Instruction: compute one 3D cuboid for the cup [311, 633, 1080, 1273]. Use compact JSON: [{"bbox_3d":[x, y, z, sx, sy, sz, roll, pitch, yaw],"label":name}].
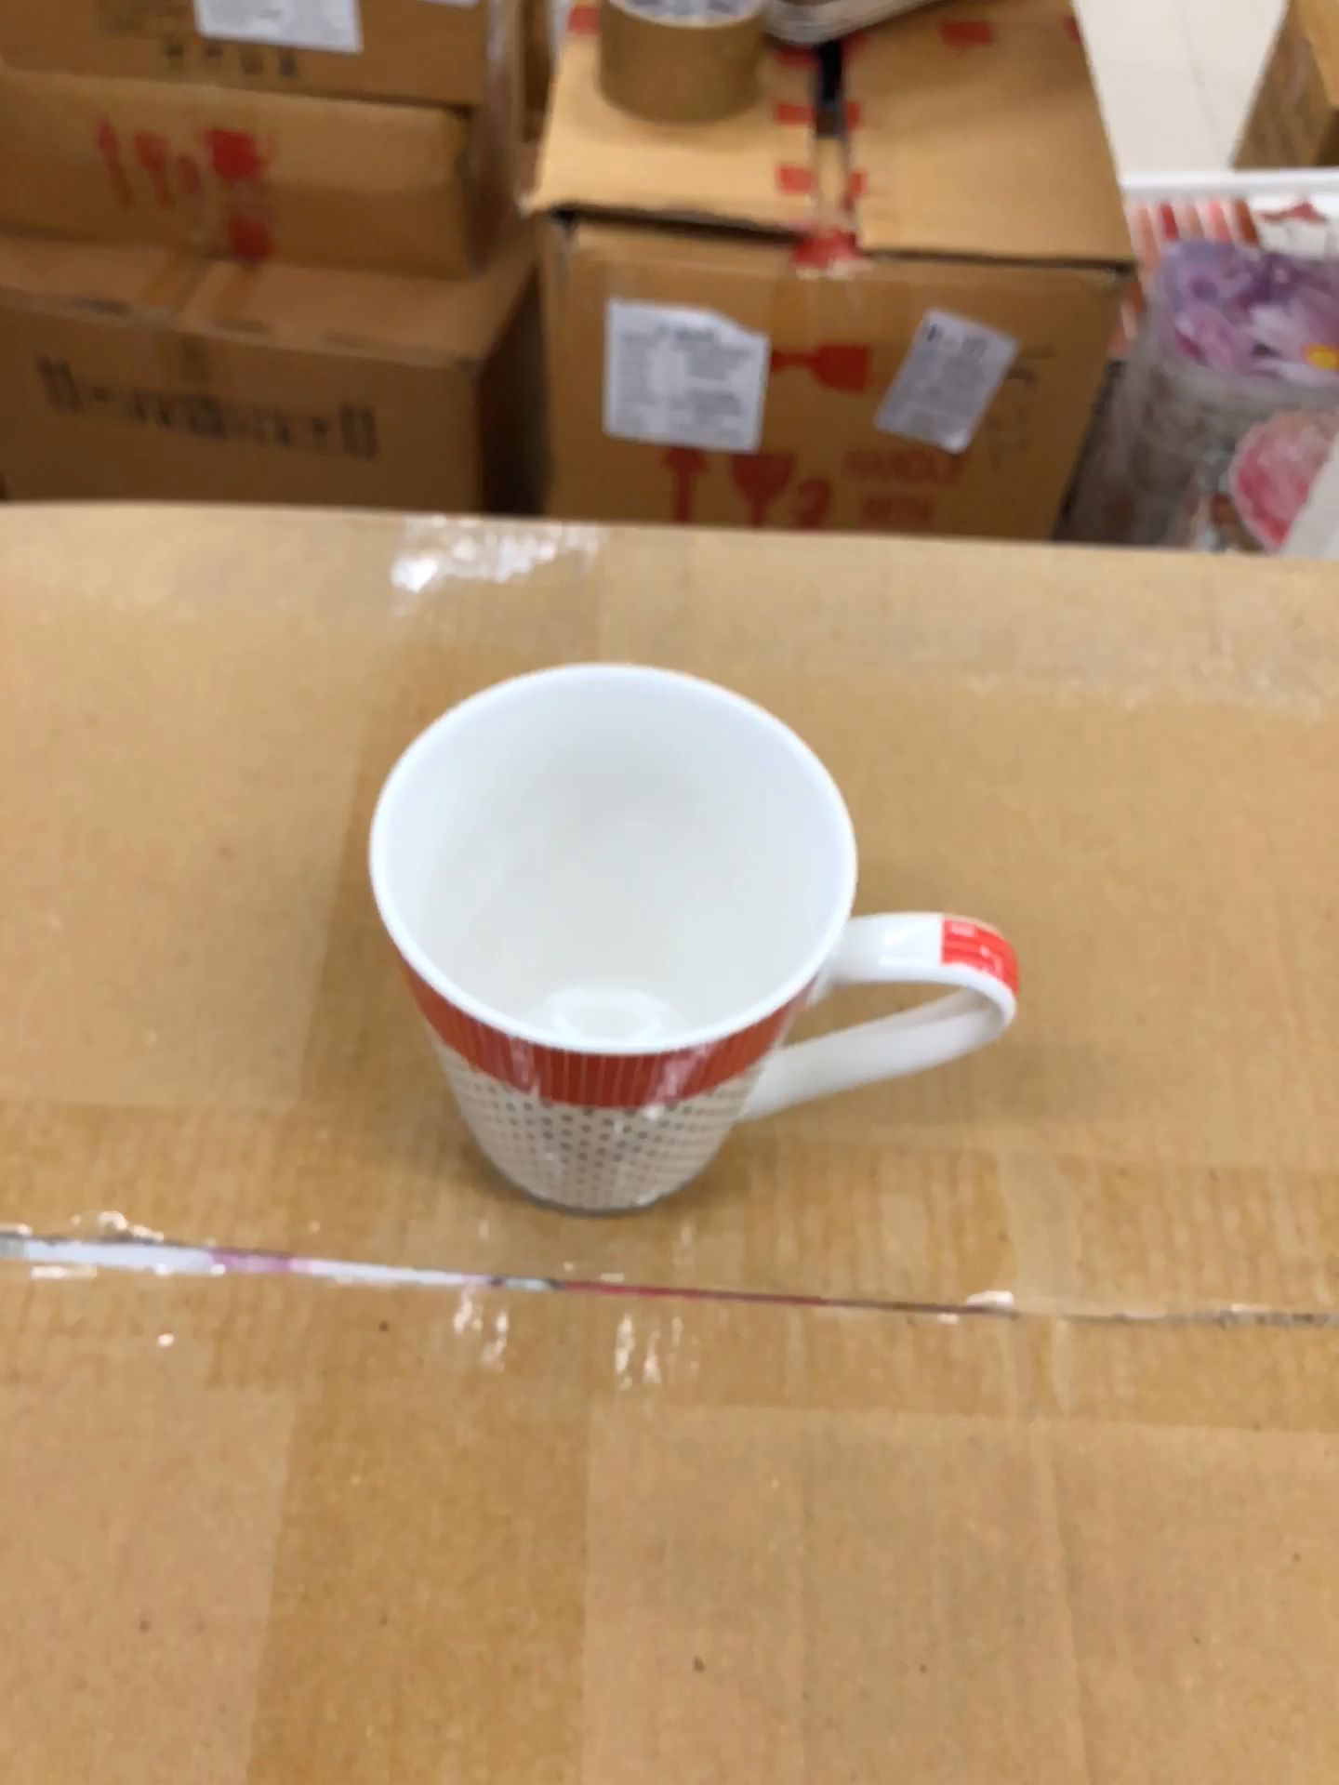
[{"bbox_3d":[0.001,0.013,0.297,0.120,0.090,0.090,-1,55,-3],"label":"cup"}]
